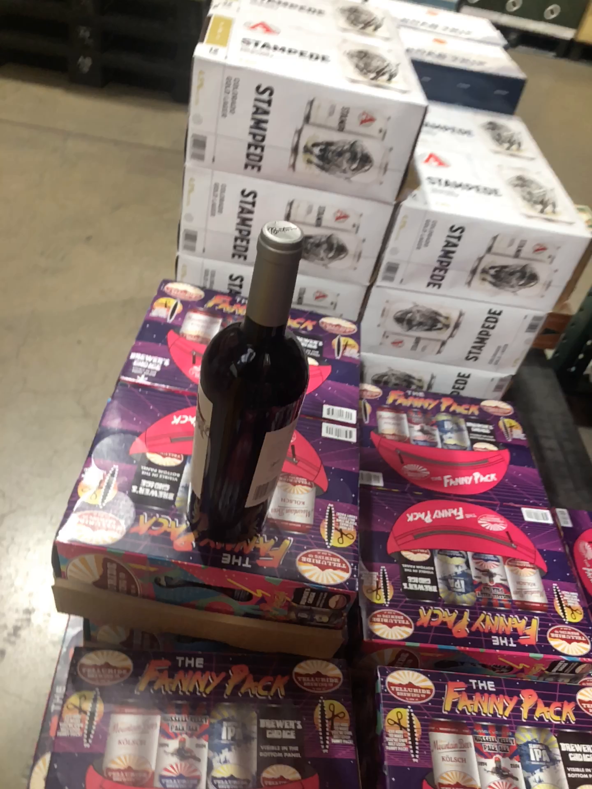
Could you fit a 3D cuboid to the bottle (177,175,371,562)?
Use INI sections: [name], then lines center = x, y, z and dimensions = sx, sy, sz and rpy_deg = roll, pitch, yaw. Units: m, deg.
[bottle]
center = -0.028, 0.000, 0.499
dimensions = 0.080, 0.298, 0.080
rpy_deg = 7, 43, -7
